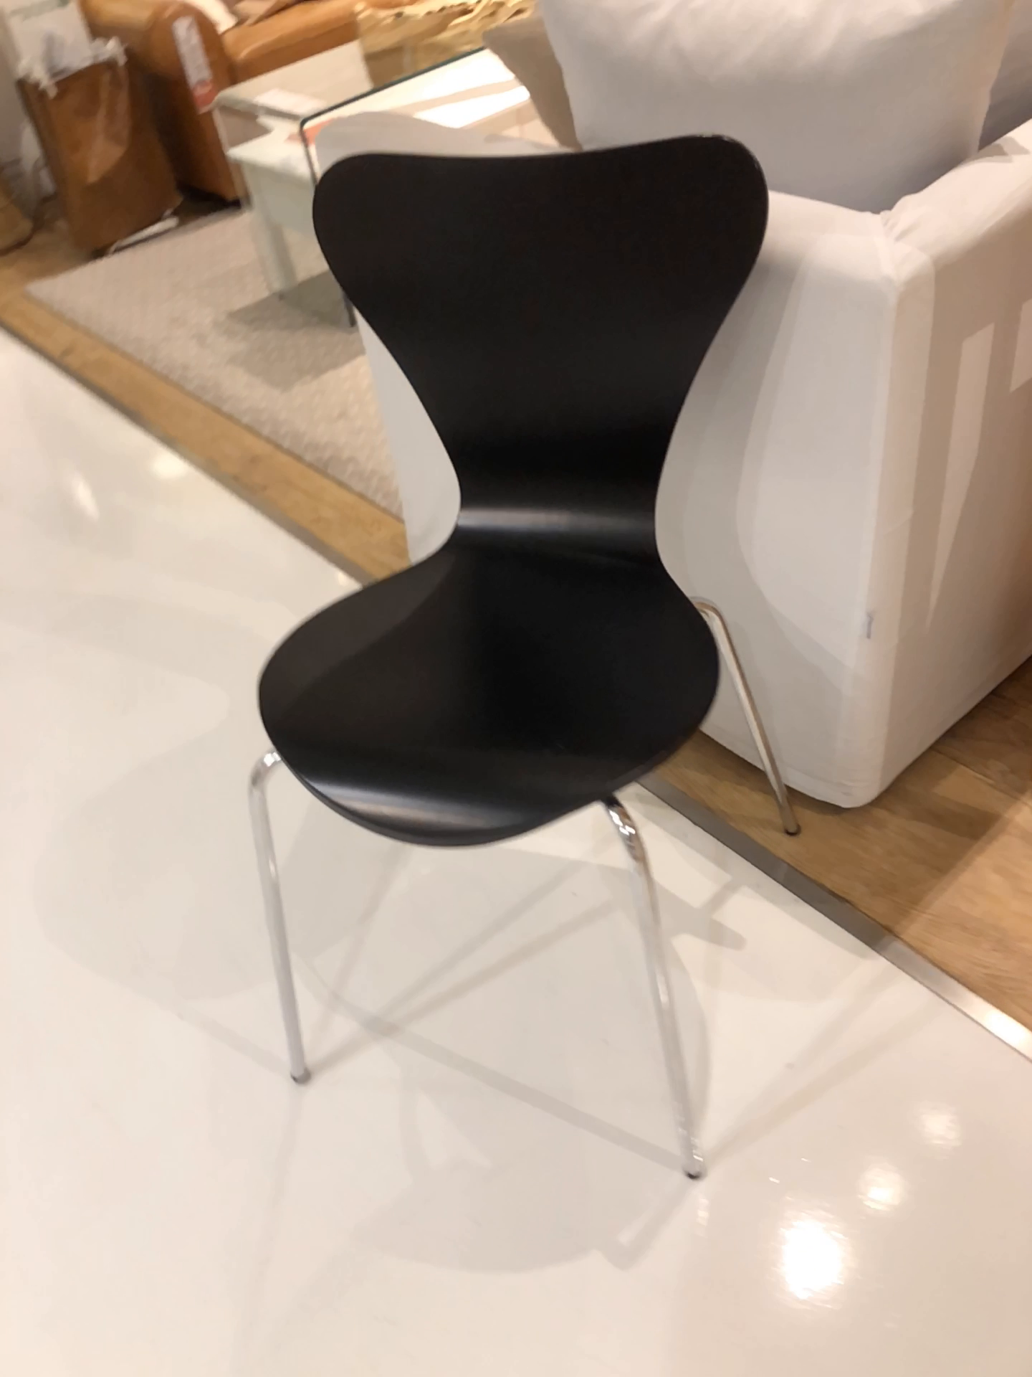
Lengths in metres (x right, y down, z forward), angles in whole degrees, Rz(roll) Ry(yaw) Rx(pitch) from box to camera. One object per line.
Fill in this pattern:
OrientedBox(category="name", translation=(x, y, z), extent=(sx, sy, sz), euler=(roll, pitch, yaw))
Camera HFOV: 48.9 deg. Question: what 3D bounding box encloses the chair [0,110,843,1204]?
OrientedBox(category="chair", translation=(-0.017, -0.023, 1.070), extent=(0.540, 0.774, 0.554), euler=(6, 44, 19))
